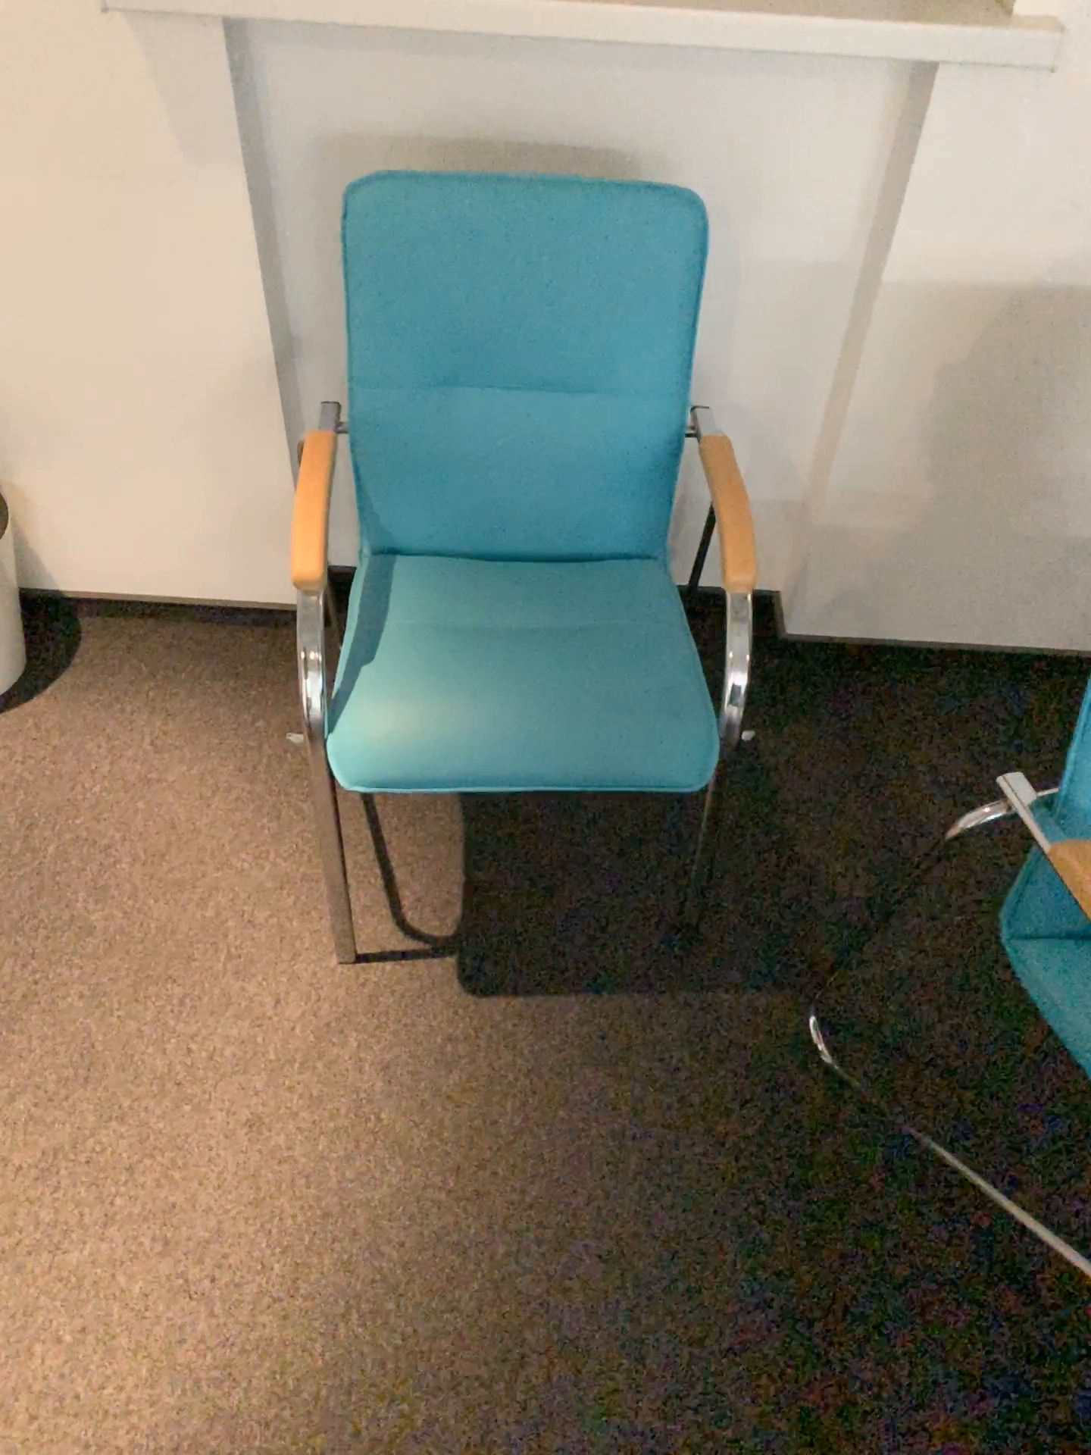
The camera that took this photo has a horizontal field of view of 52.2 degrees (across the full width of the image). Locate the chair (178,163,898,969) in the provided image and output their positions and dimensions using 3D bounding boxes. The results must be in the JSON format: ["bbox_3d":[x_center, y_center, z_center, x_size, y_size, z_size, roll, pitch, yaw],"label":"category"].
[{"bbox_3d":[-0.030,-0.180,1.501,0.630,0.856,0.633,0,47,-3],"label":"chair"}]
